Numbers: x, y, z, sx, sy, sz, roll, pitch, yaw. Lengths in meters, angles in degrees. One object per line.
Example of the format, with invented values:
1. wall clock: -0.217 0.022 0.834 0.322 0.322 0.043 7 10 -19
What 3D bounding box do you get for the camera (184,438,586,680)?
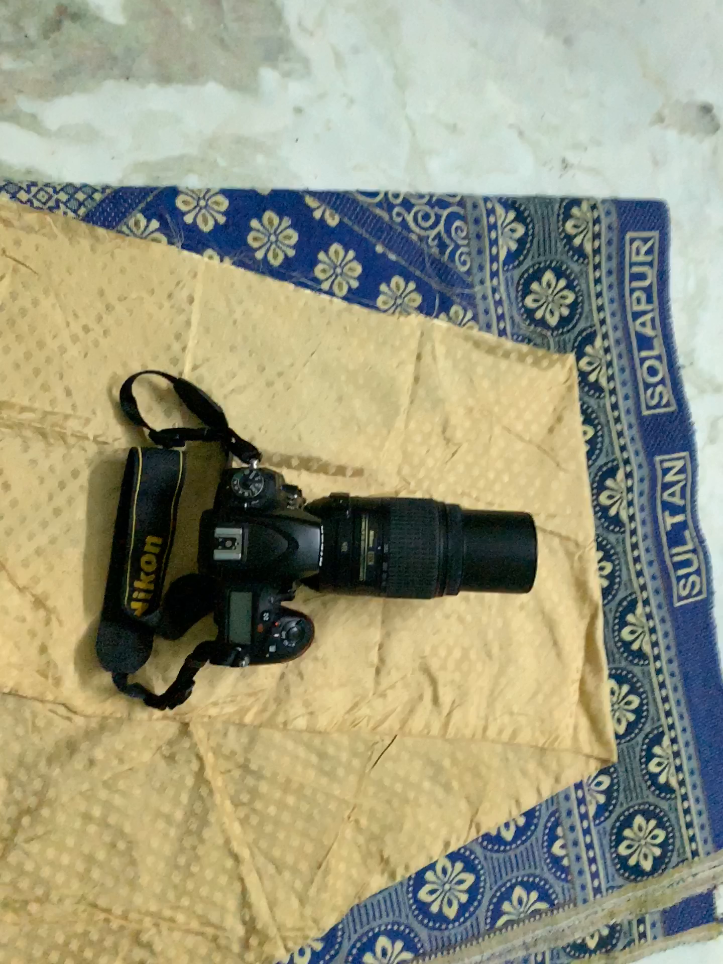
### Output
1. camera: 0.010 0.054 0.532 0.240 0.180 0.140 2 85 -6
